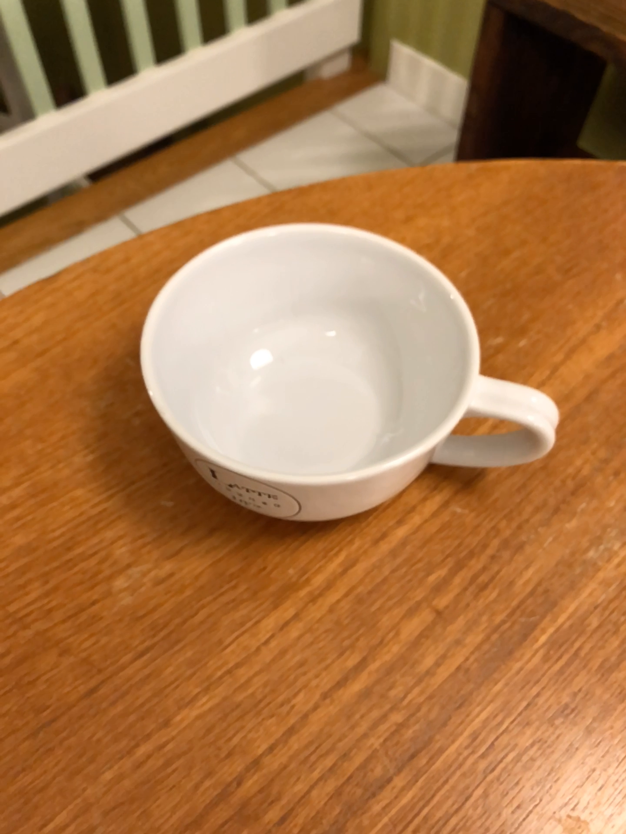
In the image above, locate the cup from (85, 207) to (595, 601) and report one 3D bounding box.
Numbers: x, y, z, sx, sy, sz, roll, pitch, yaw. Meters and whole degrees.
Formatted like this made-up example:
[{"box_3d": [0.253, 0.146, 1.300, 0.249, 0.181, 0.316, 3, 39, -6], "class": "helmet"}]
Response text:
[{"box_3d": [0.019, -0.012, 0.305, 0.179, 0.055, 0.139, 9, 56, 5], "class": "cup"}]
